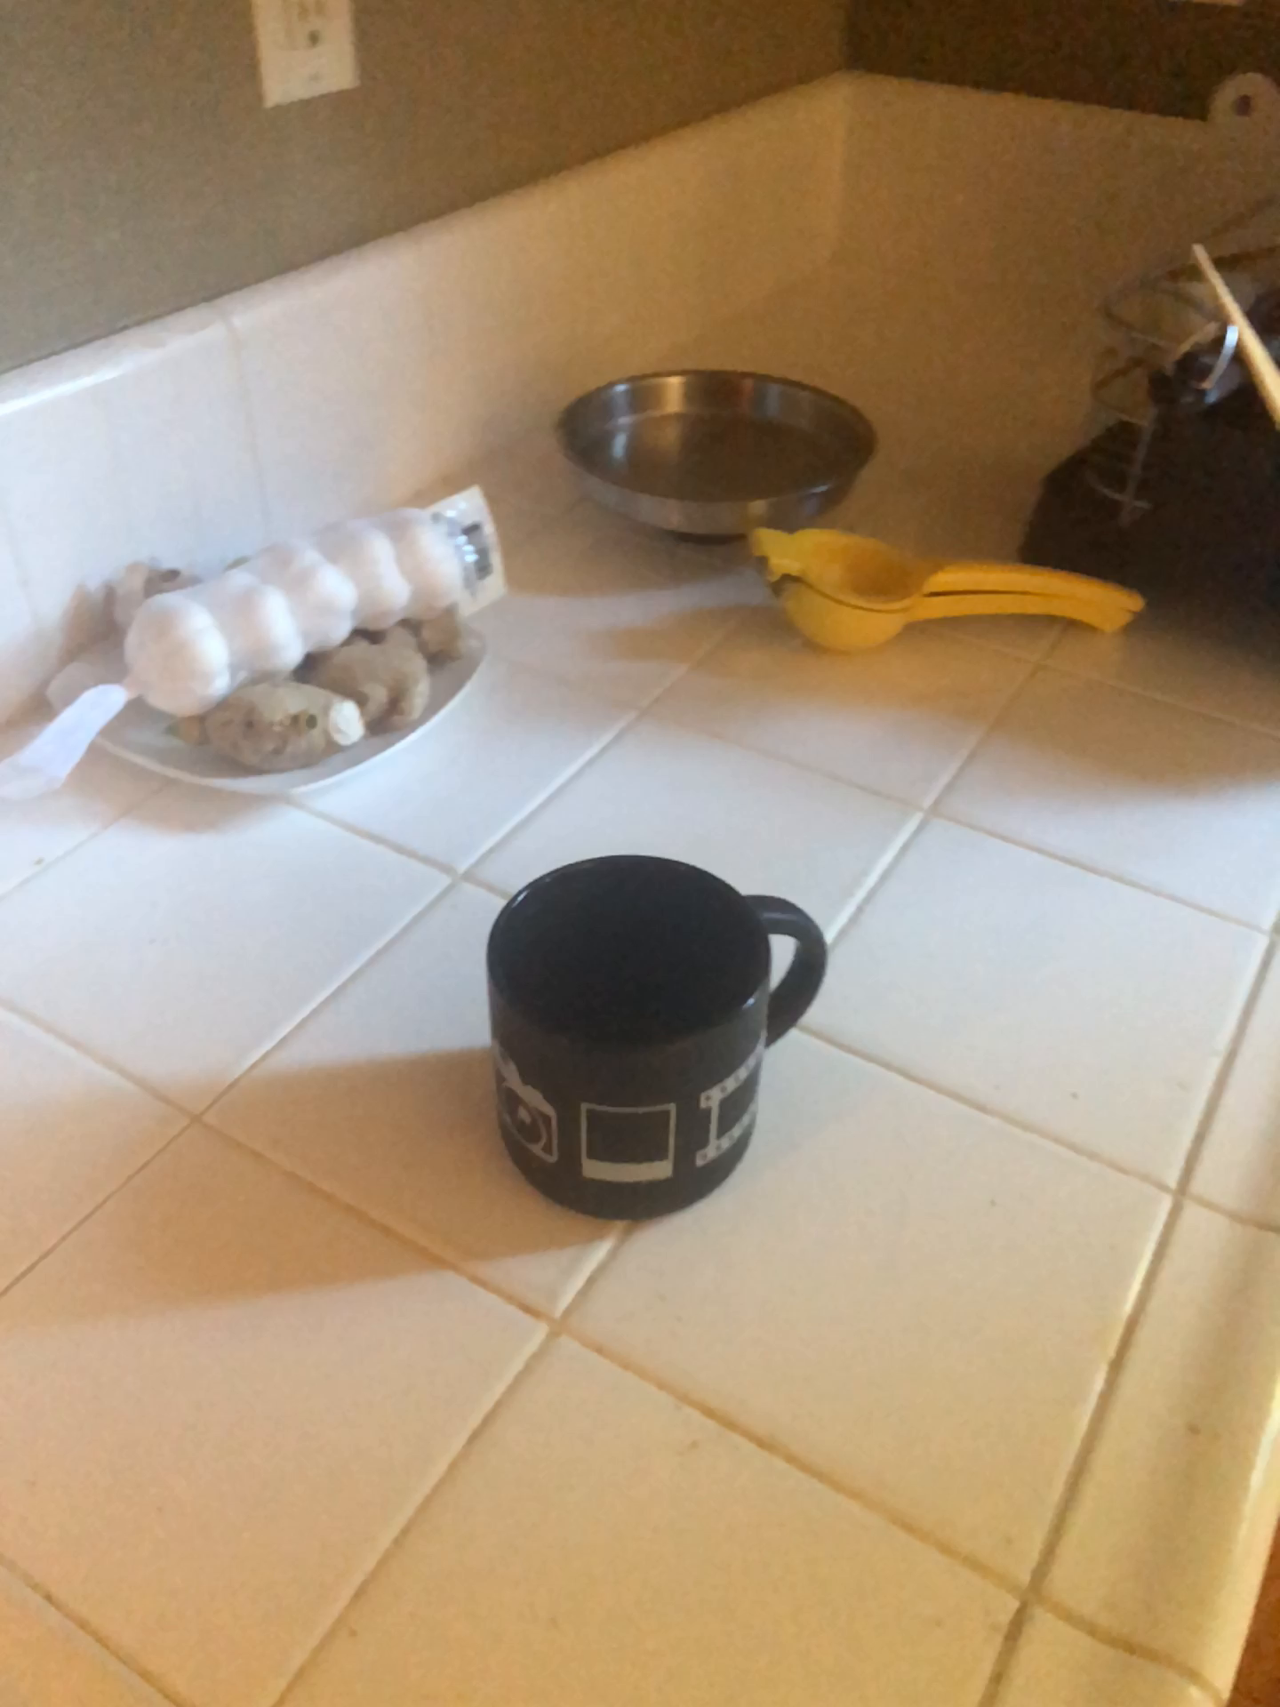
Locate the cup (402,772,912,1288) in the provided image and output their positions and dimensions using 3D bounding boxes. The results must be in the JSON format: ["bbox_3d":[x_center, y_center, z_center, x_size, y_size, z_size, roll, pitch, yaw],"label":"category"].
[{"bbox_3d":[0.004,0.053,0.465,0.131,0.089,0.090,-22,46,-27],"label":"cup"}]
